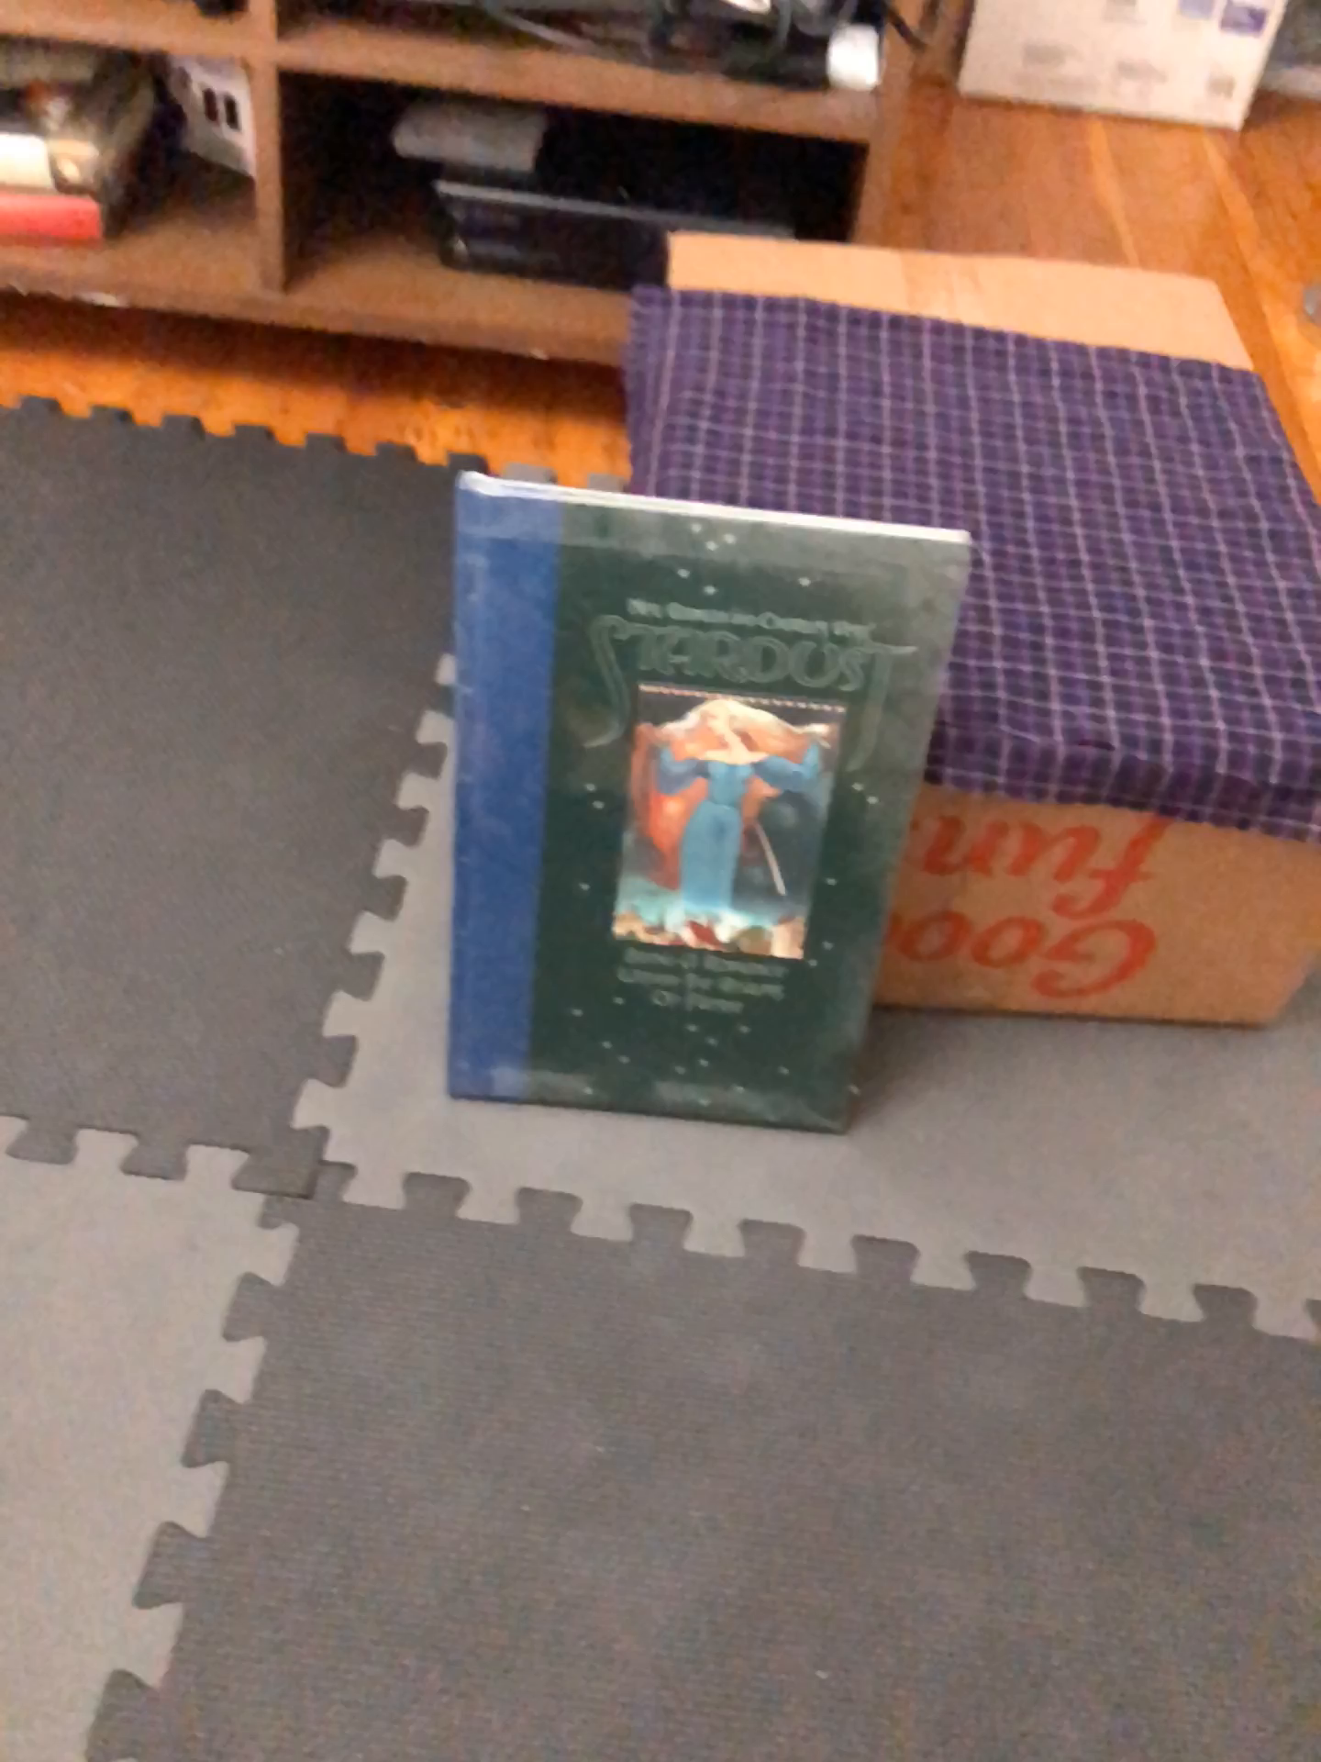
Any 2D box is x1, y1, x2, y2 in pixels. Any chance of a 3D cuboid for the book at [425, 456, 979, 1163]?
[{"bbox_3d":[0.003,-0.012,0.646,0.210,0.329,0.020,5,32,0],"label":"book"}]
